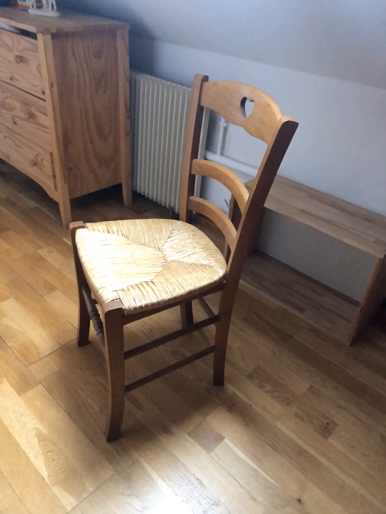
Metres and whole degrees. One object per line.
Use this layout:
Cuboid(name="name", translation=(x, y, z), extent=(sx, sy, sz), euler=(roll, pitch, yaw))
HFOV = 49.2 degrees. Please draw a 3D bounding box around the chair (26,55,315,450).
Cuboid(name="chair", translation=(-0.109, -0.024, 1.053), extent=(0.434, 0.792, 0.460), euler=(-10, 37, -23))
